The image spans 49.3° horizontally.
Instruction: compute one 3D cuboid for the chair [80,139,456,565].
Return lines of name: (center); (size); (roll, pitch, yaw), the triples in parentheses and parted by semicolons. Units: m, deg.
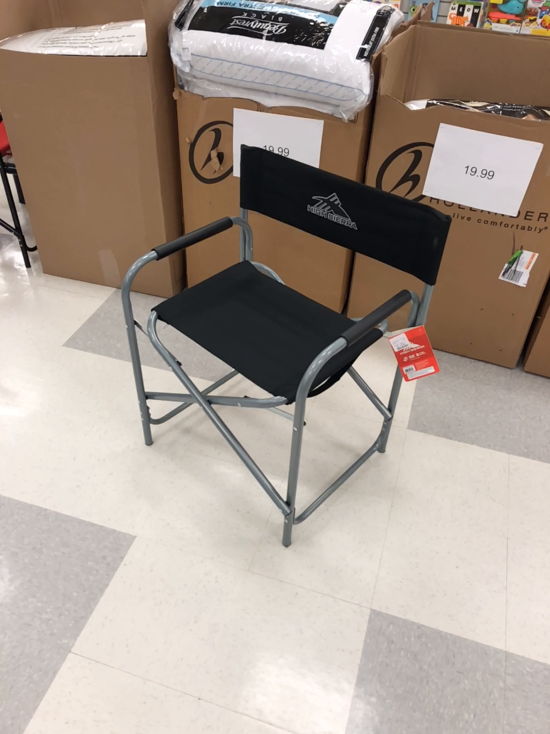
chair: (-0.025, -0.061, 1.506); (0.626, 0.736, 0.499); (30, 48, 29)
